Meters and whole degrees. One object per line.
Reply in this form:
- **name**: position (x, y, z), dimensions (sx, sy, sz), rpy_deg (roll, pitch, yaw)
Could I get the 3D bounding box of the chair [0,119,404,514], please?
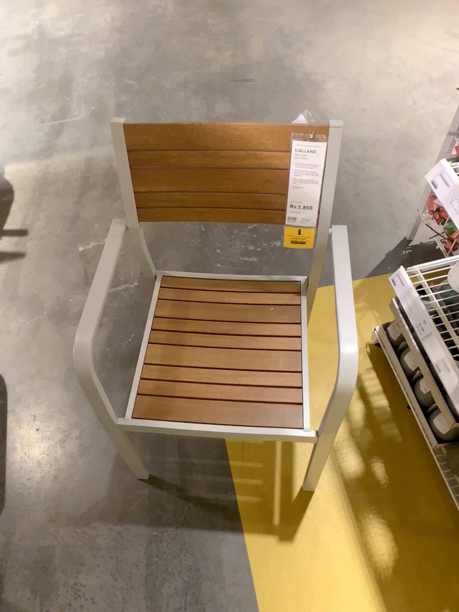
- **chair**: position (-0.008, 0.076, 1.085), dimensions (0.560, 0.728, 0.601), rpy_deg (3, 58, 6)
